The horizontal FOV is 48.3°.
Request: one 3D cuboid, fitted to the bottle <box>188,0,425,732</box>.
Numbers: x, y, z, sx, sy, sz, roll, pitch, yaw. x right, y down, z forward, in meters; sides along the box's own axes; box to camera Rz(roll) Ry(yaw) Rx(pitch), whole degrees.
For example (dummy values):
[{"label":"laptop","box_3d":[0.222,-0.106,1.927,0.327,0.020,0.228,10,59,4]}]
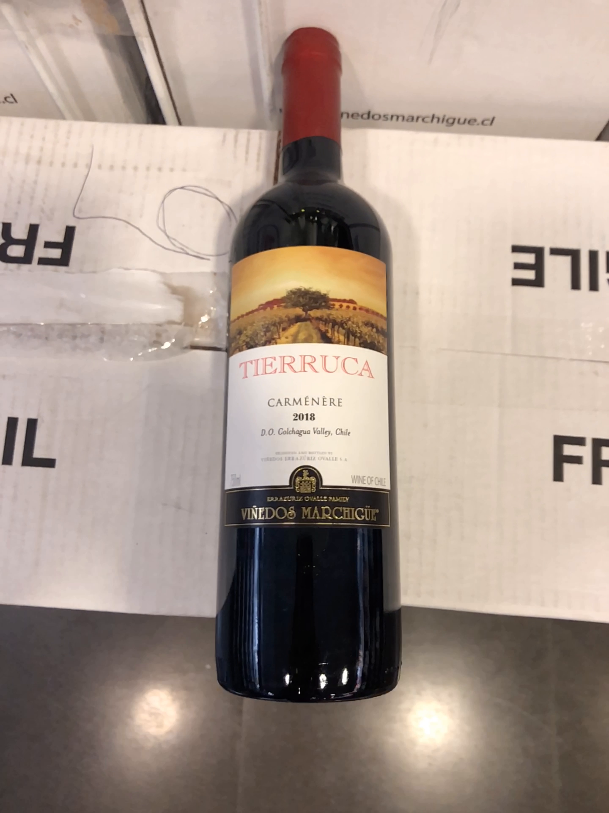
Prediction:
[{"label":"bottle","box_3d":[0.005,-0.040,0.300,0.080,0.080,0.320,1,78,1]}]
